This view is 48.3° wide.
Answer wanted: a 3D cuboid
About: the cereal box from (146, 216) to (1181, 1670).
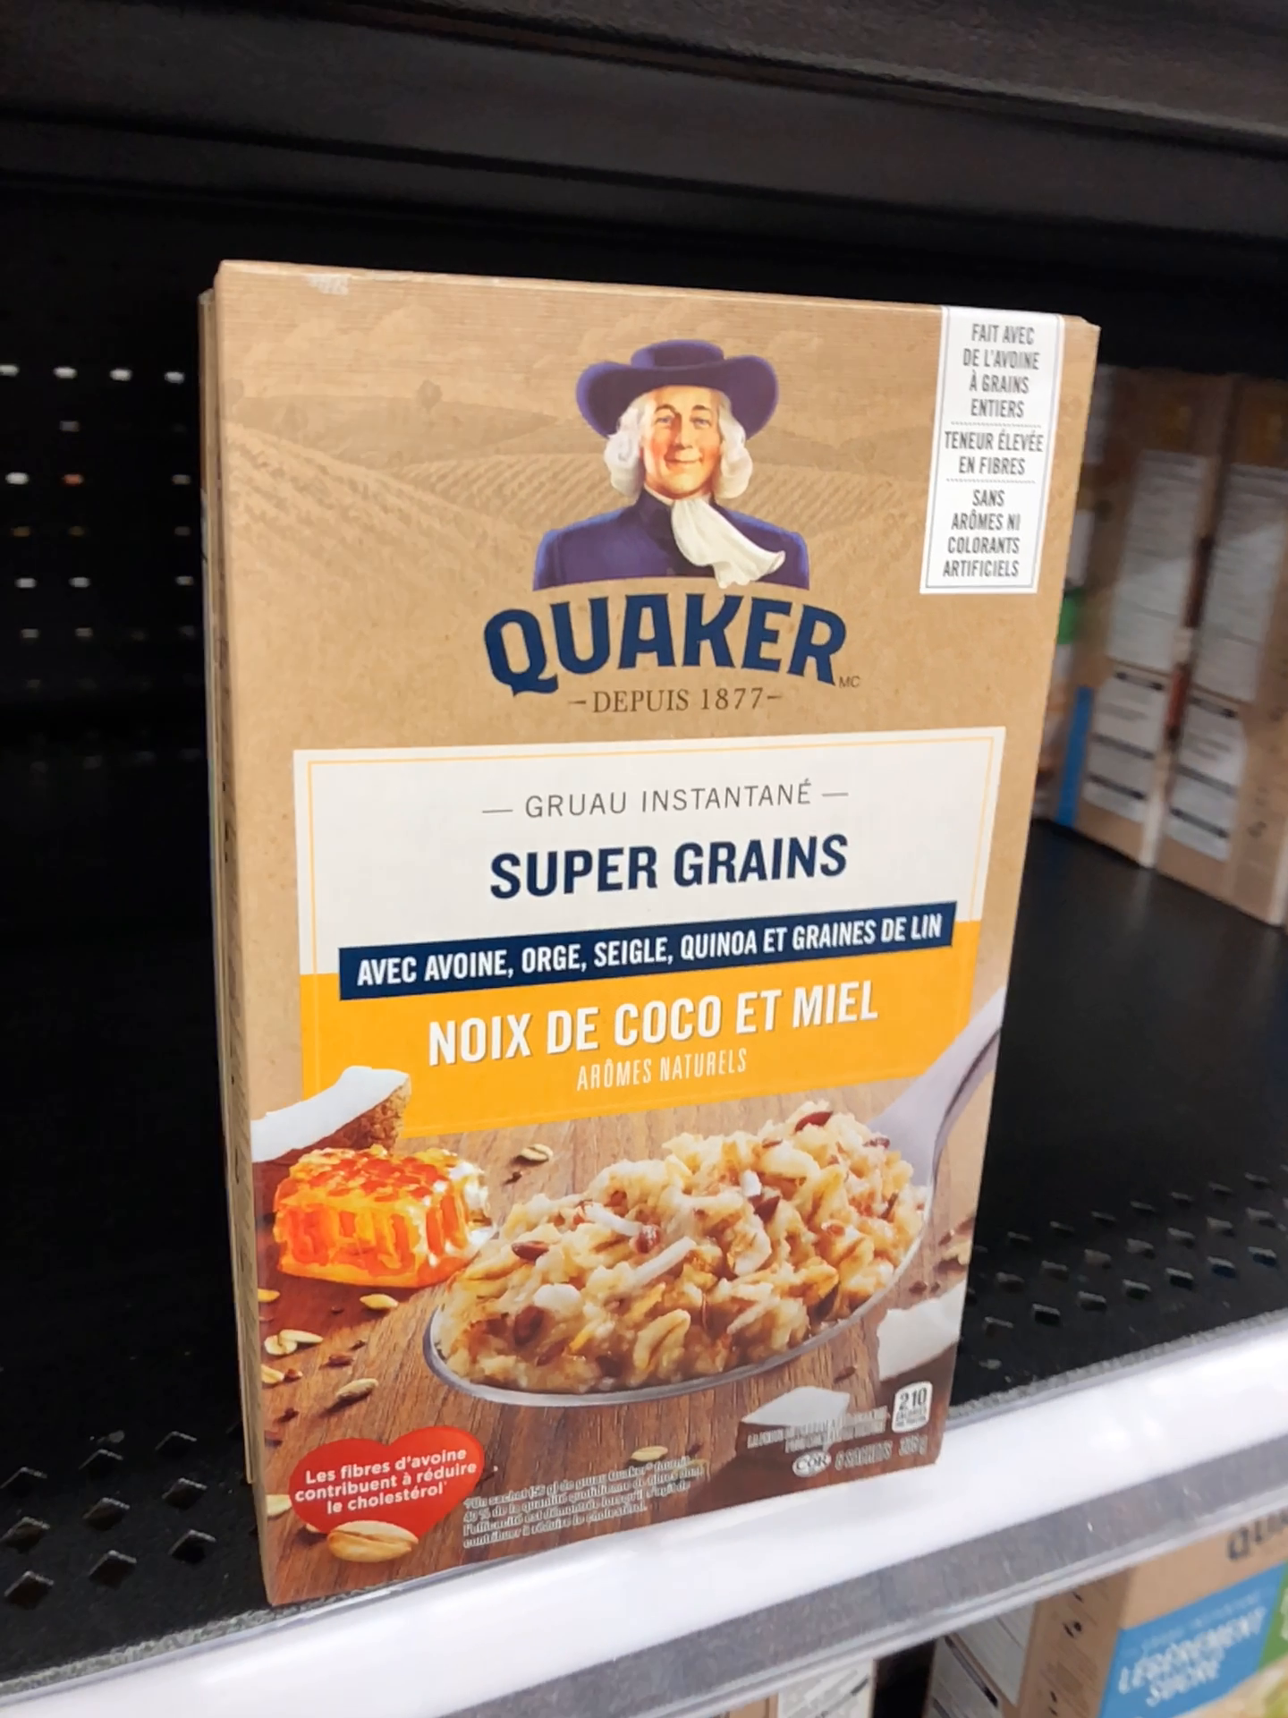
[{"bbox_3d":[-0.004,0.012,0.230,0.130,0.199,0.060,-4,20,-20],"label":"cereal box"}]
